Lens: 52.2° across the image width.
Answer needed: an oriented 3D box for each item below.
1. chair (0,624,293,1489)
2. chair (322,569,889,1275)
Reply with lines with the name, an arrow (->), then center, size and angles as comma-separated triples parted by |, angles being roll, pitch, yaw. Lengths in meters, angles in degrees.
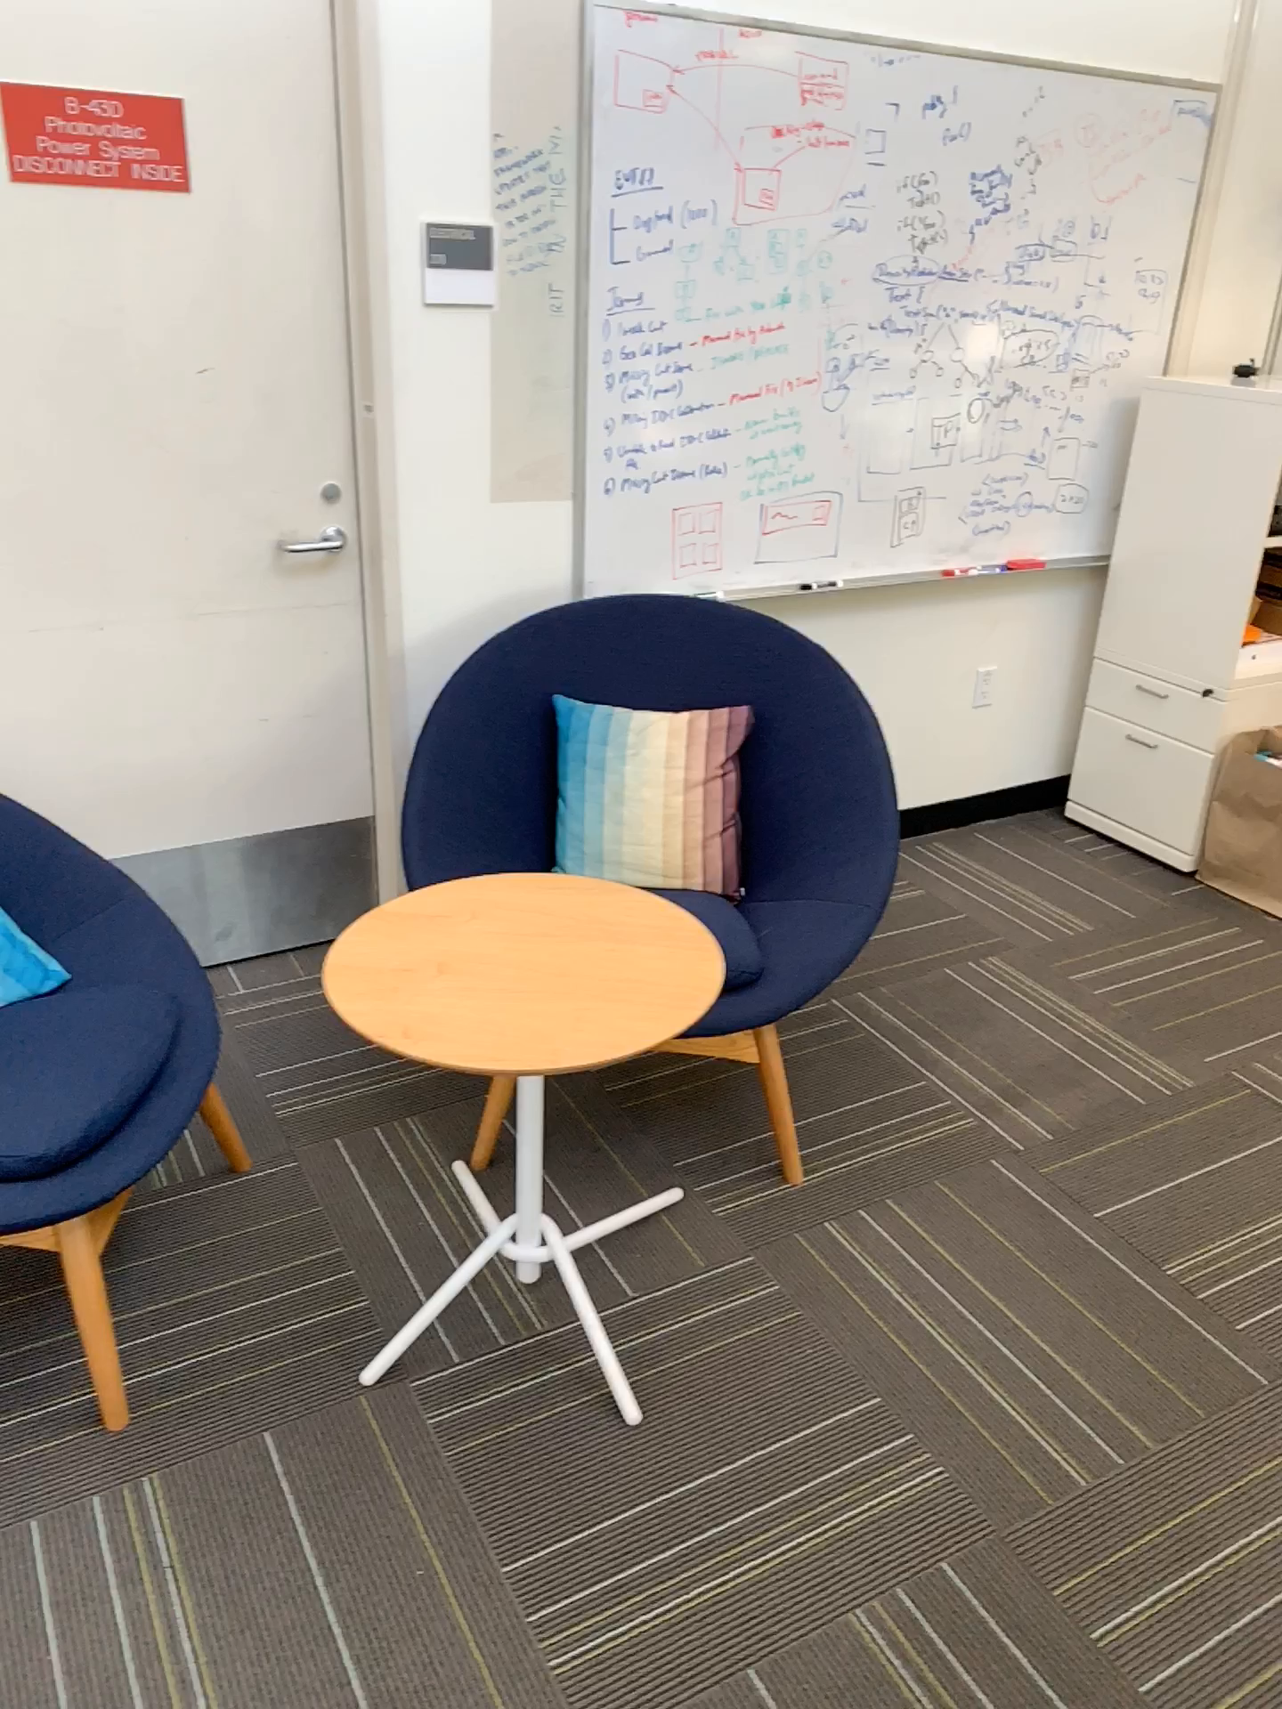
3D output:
chair -> -1.084, 0.209, 1.876 | 0.840, 0.835, 0.794 | 5, 24, 7
chair -> -0.002, 0.045, 2.567 | 0.830, 0.945, 0.985 | 7, 24, 10
